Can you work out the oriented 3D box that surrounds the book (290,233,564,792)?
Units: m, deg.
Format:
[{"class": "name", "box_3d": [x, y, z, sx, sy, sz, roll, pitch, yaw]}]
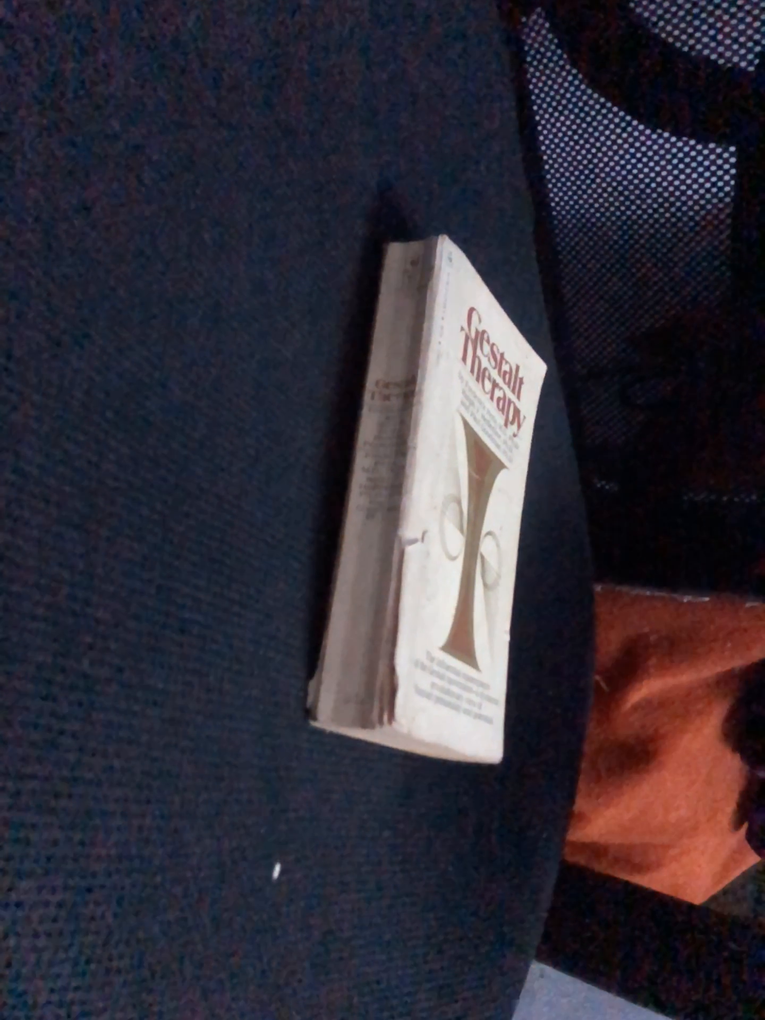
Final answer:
[{"class": "book", "box_3d": [0.028, 0.008, 0.328, 0.121, 0.034, 0.182, 35, 58, -54]}]
